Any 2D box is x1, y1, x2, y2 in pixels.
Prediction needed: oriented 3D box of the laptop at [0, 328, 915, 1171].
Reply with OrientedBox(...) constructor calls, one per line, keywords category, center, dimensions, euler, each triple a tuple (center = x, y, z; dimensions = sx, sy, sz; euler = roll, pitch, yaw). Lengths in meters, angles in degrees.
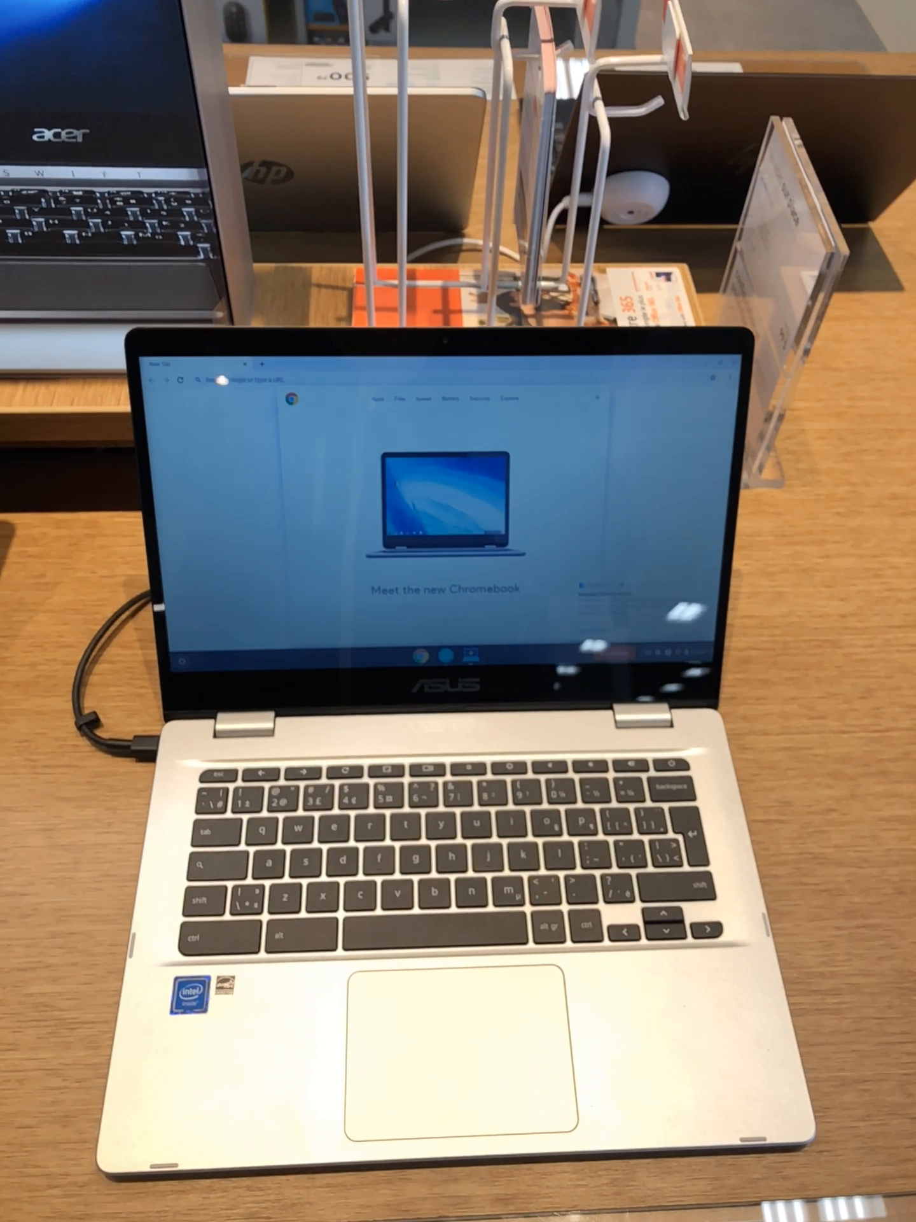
OrientedBox(category="laptop", center=(-0.023, 0.048, 0.471), dimensions=(0.281, 0.186, 0.337), euler=(-2, 52, -6))
